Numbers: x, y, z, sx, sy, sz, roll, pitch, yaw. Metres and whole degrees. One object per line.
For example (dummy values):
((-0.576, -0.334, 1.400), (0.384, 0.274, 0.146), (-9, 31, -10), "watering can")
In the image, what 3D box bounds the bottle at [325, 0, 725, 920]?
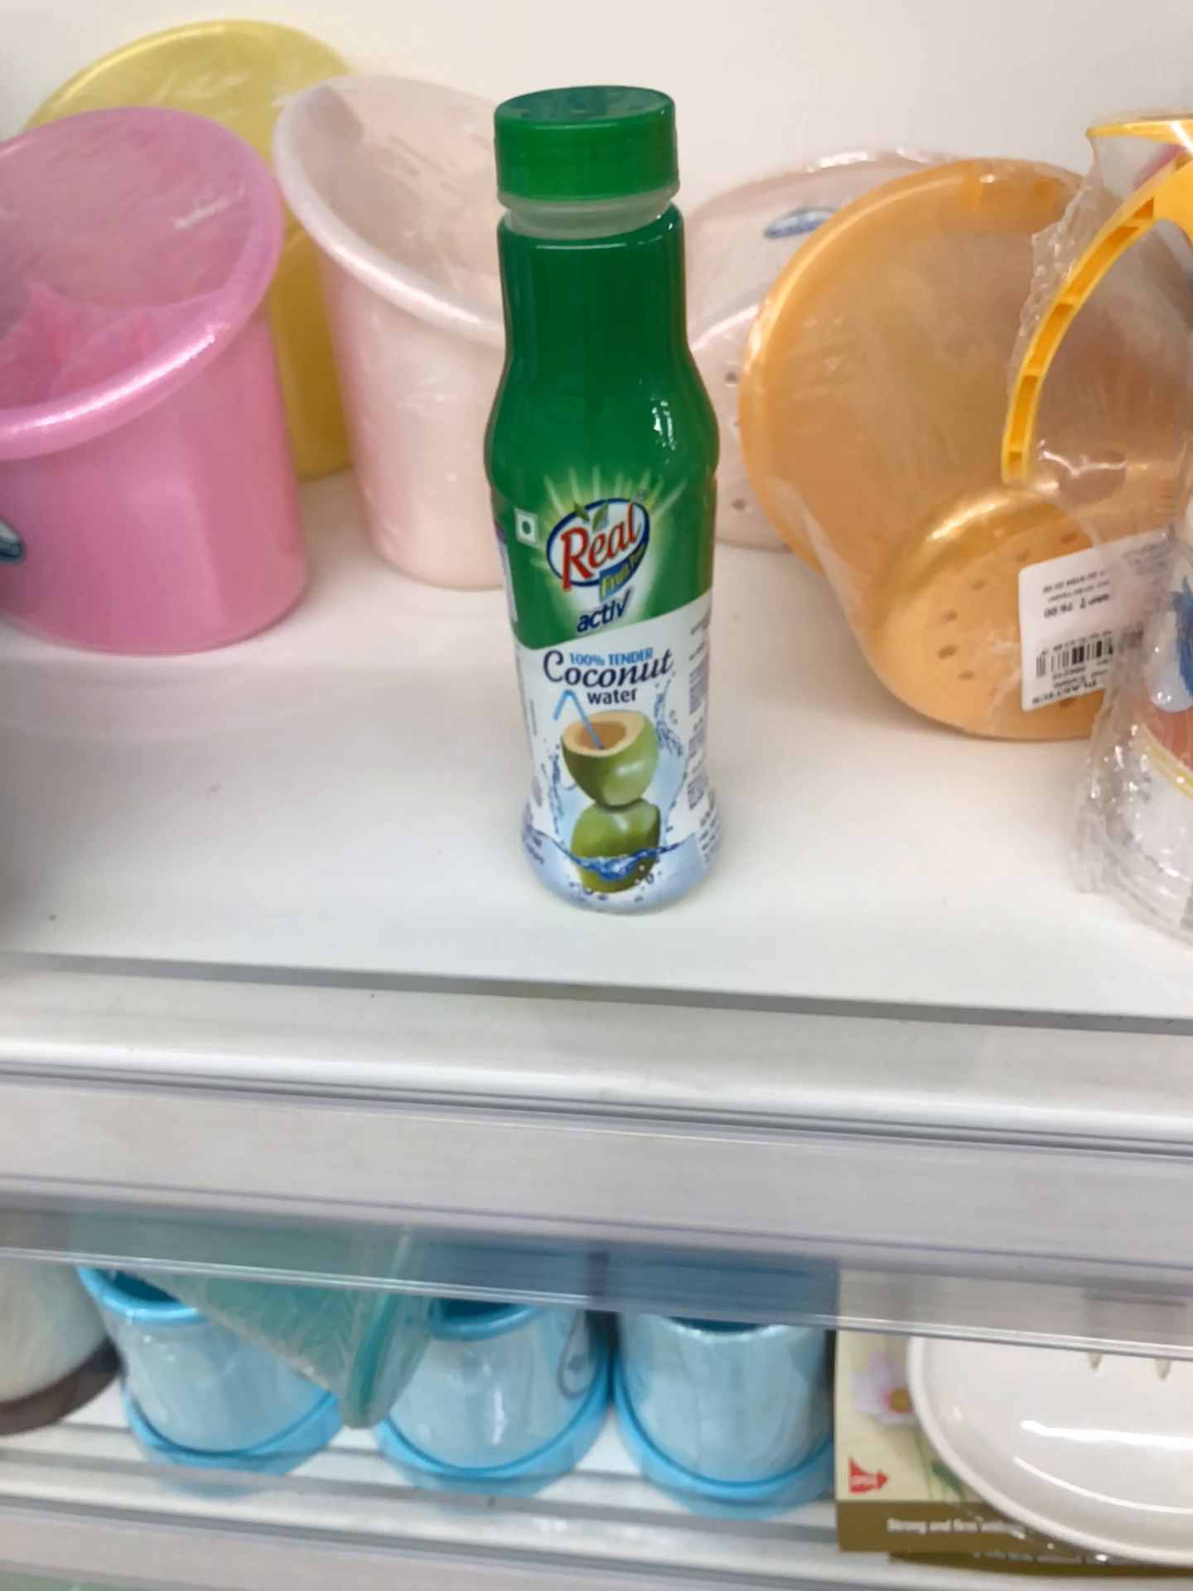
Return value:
((-0.006, -0.060, 0.280), (0.060, 0.179, 0.060), (-2, 40, 2), "bottle")
